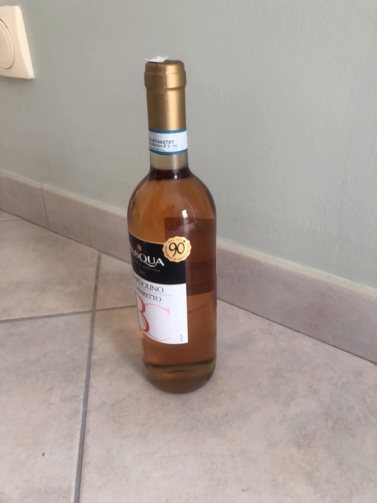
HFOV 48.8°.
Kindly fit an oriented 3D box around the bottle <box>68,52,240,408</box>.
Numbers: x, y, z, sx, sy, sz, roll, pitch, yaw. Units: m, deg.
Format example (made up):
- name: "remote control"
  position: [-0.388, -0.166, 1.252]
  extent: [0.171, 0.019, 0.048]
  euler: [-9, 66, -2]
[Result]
- name: "bottle"
  position: [-0.018, -0.010, 0.341]
  extent: [0.080, 0.268, 0.080]
  euler: [-2, 30, 1]
